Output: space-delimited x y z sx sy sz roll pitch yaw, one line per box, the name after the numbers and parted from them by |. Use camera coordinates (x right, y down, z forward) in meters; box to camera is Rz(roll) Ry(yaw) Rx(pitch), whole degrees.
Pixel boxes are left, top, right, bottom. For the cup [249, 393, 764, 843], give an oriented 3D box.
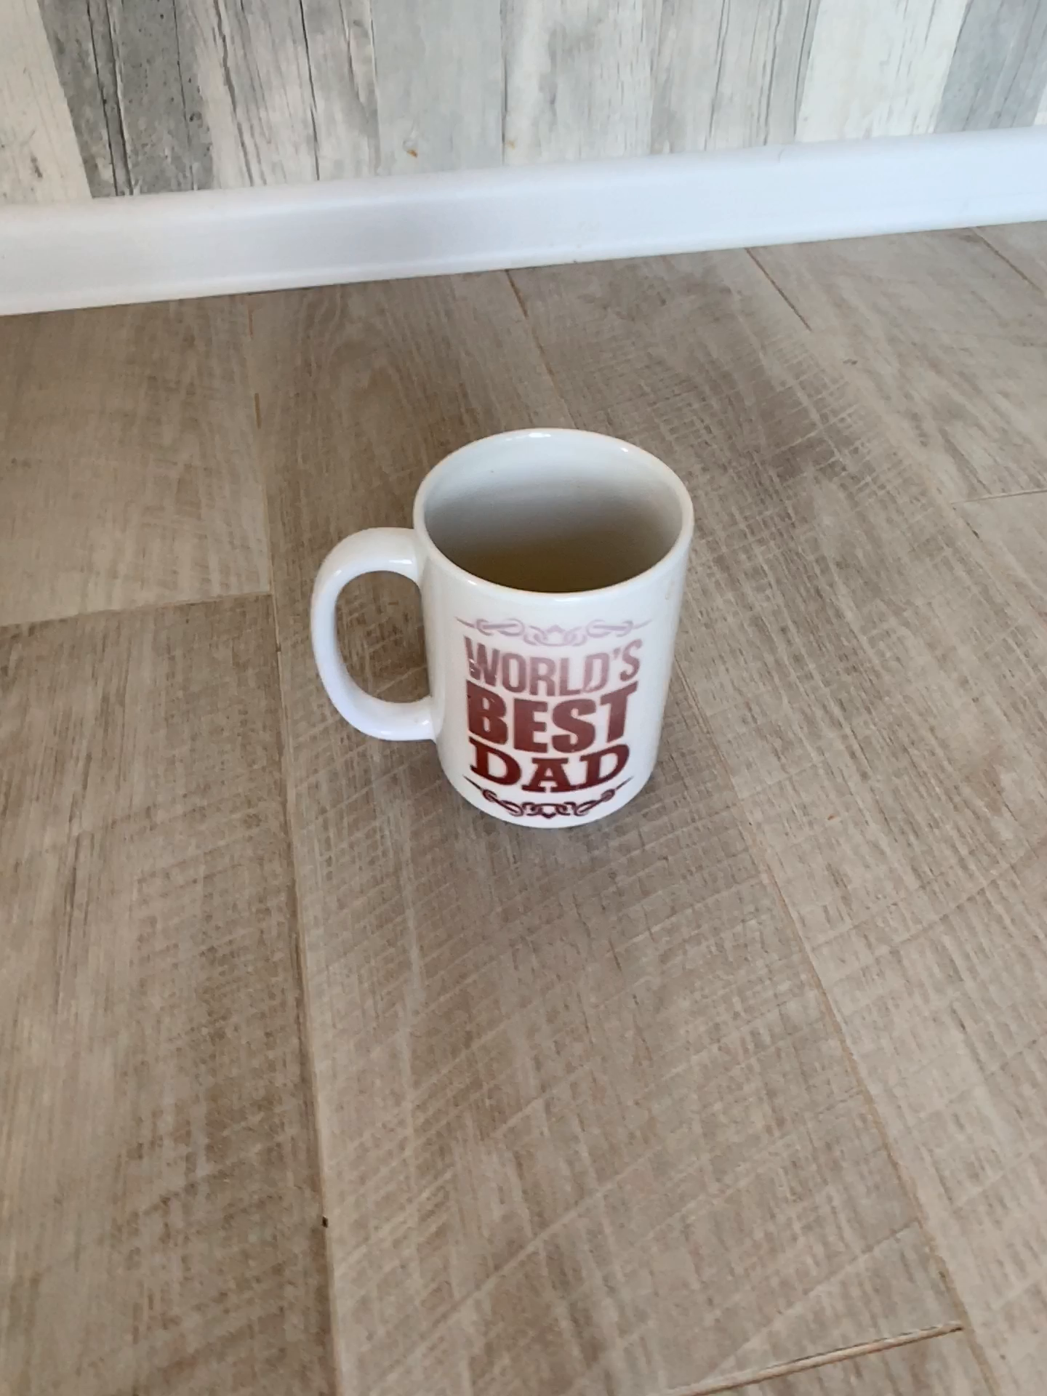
-0.007 -0.023 0.340 0.130 0.110 0.080 -3 47 -4 | cup
